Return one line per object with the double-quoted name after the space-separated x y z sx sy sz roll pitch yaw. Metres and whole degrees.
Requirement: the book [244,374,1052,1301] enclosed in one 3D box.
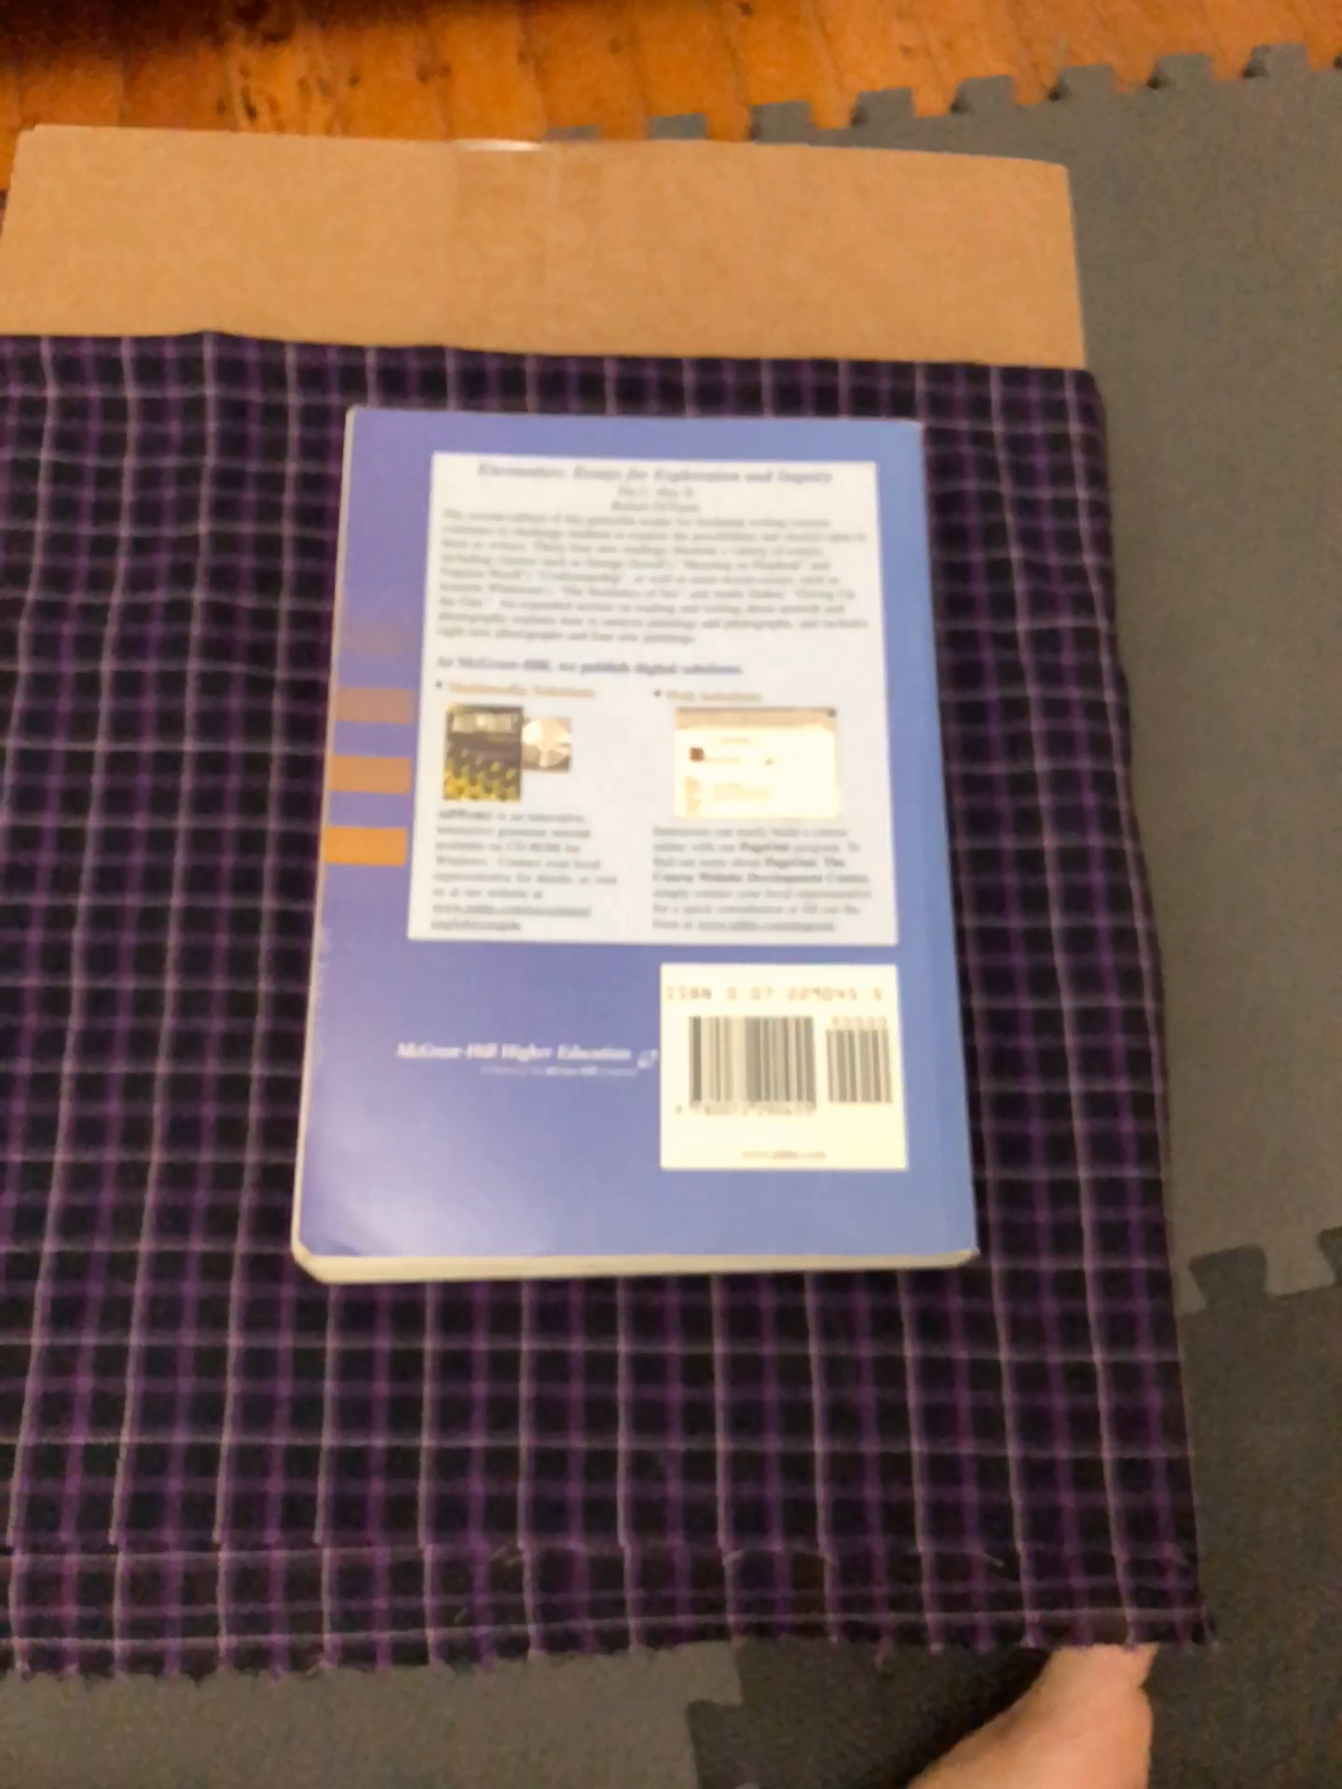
-0.009 -0.022 0.393 0.180 0.040 0.240 -1 71 -3 "book"
